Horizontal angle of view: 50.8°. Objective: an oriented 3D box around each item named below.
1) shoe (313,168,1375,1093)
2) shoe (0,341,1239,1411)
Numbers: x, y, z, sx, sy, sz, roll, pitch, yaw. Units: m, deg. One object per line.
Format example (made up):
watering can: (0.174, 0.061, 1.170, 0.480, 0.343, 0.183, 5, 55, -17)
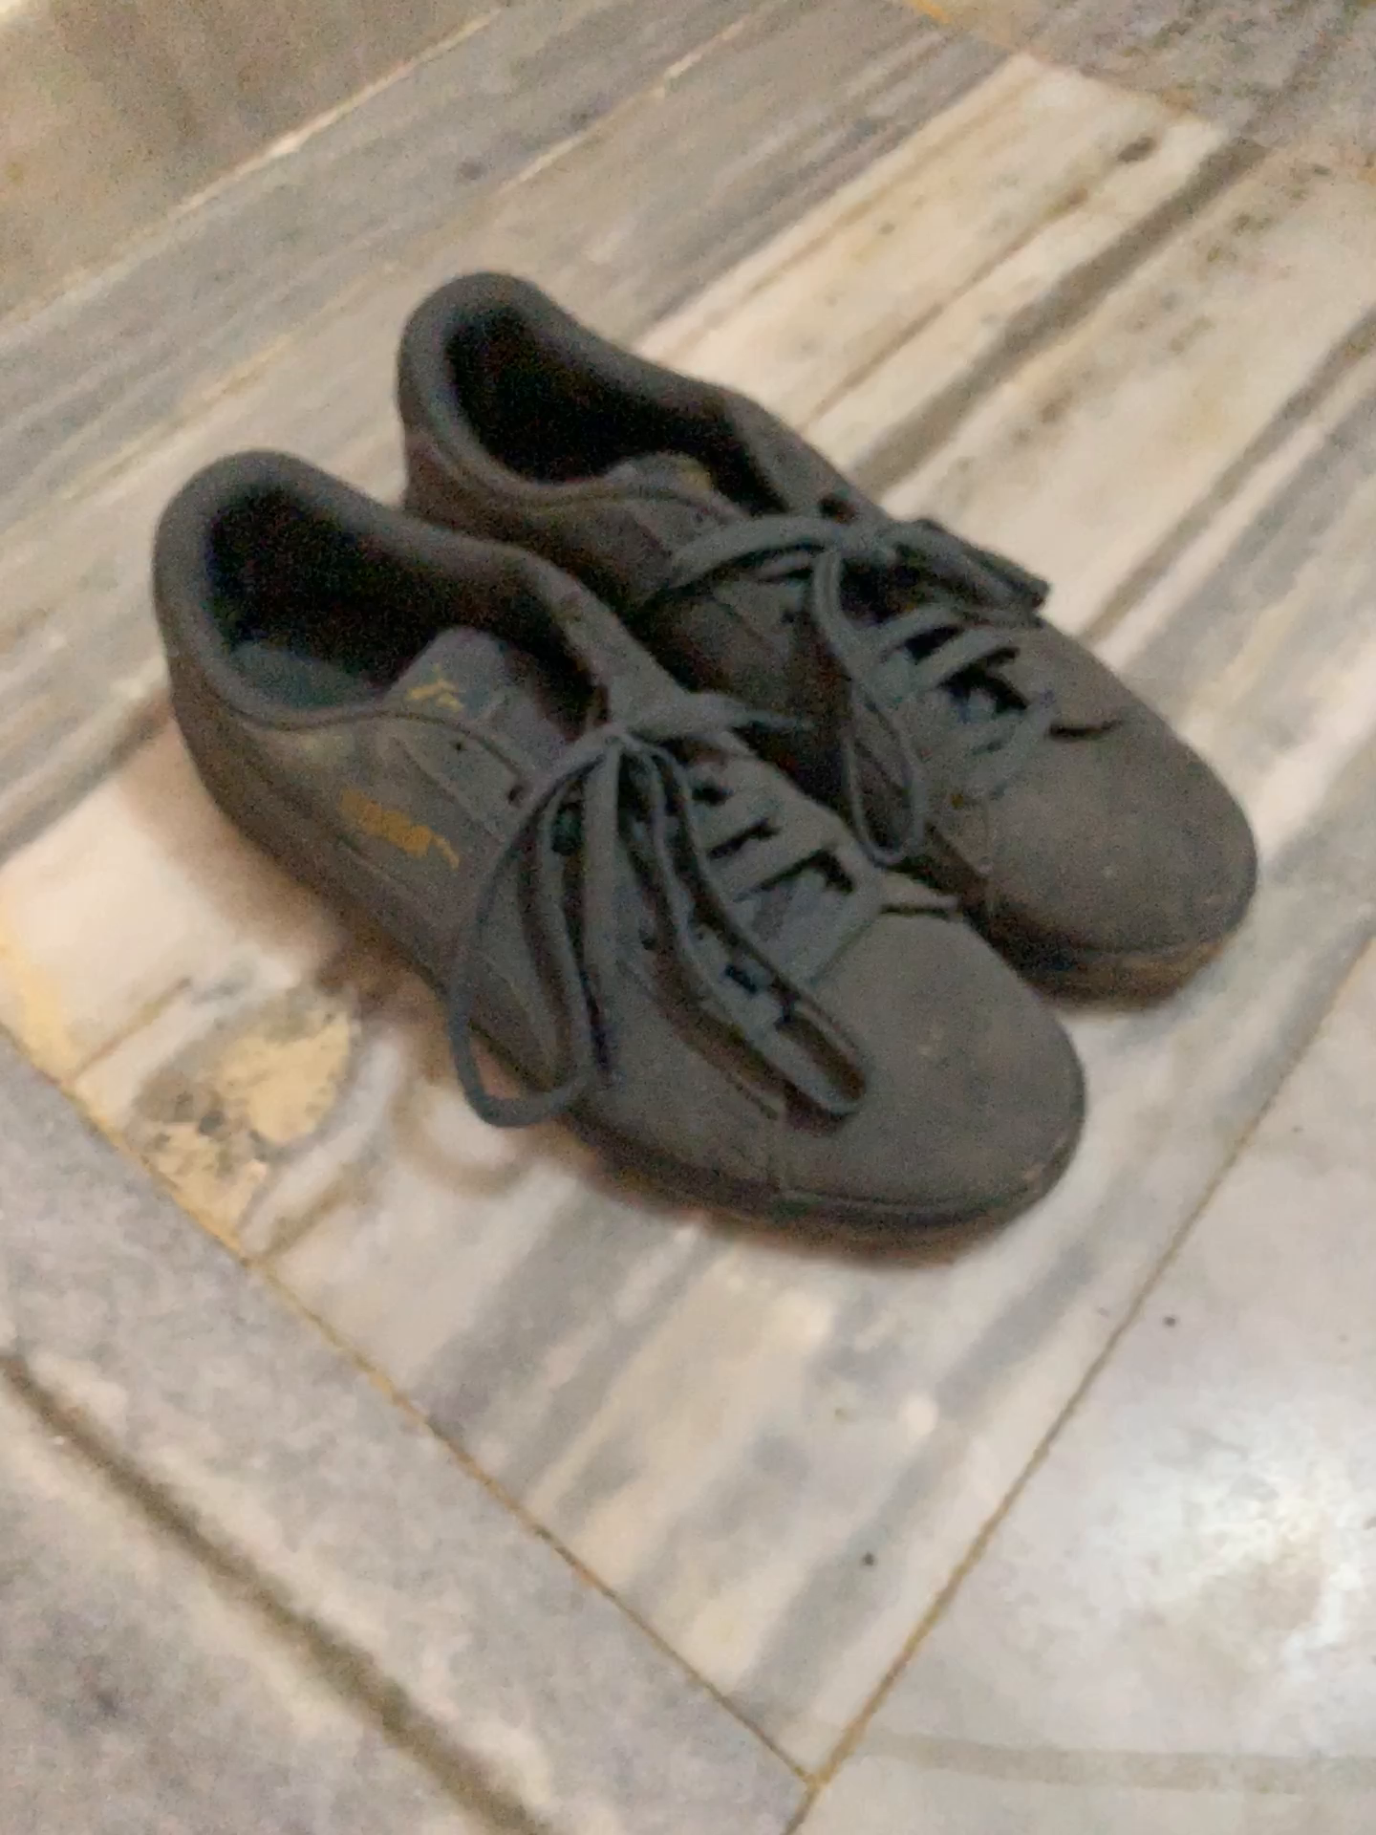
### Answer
shoe: (0.042, -0.093, 0.421, 0.290, 0.100, 0.110, 35, 66, 20)
shoe: (-0.030, -0.021, 0.377, 0.290, 0.100, 0.110, 35, 66, 20)
